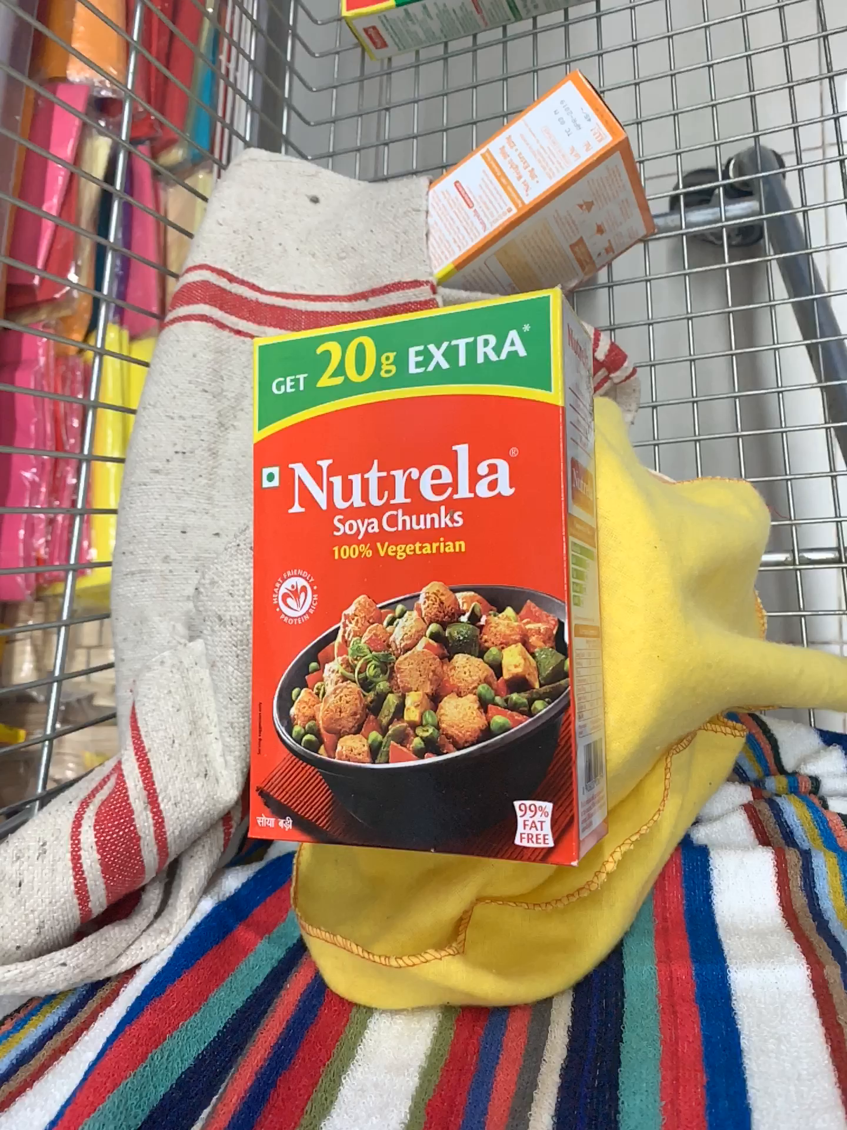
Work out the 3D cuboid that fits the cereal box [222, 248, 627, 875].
[{"bbox_3d":[0.001,0.001,0.298,0.120,0.060,0.180,-3,82,22],"label":"cereal box"}]
